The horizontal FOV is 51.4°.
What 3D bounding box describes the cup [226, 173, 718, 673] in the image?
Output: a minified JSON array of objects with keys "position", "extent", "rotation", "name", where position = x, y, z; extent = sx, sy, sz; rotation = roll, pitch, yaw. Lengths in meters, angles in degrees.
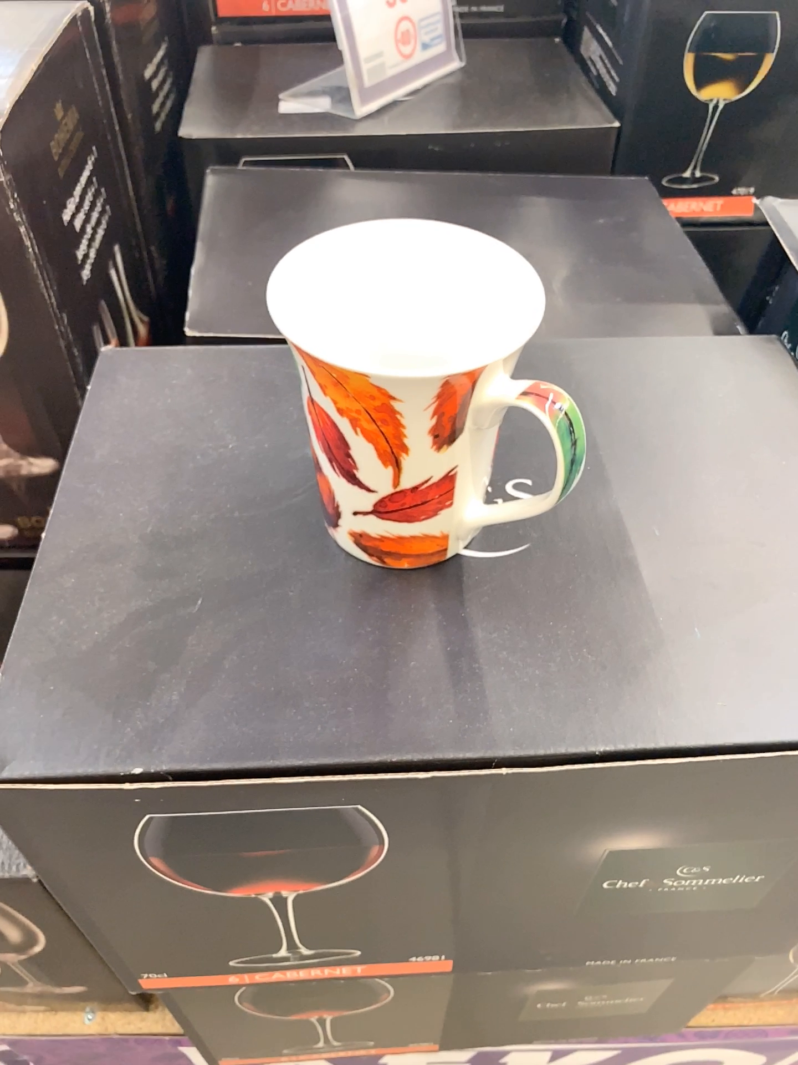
[{"position":[0.019,-0.042,0.288],"extent":[0.090,0.100,0.120],"rotation":[-35,56,-28],"name":"cup"}]
